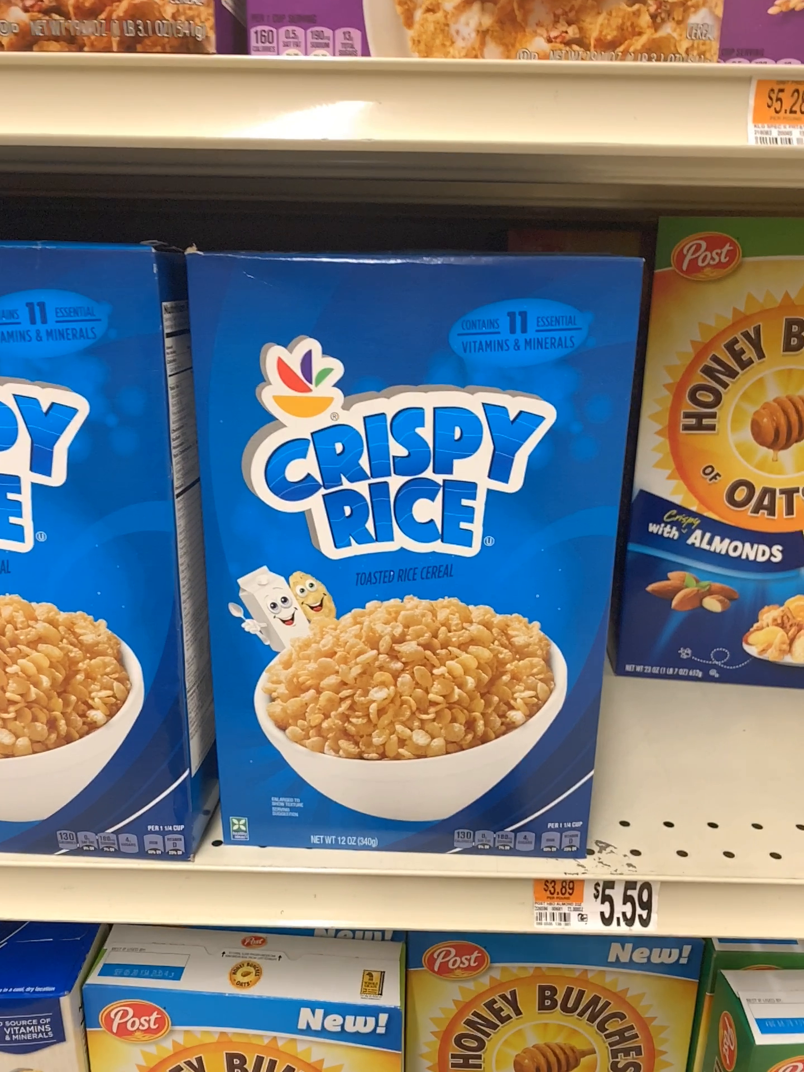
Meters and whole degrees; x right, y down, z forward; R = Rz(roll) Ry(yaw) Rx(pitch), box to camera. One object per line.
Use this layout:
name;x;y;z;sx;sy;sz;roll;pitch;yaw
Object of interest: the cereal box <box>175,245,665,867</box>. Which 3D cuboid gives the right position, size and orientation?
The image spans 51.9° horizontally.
cereal box;0.005;0.017;0.438;0.210;0.319;0.070;1;19;1
